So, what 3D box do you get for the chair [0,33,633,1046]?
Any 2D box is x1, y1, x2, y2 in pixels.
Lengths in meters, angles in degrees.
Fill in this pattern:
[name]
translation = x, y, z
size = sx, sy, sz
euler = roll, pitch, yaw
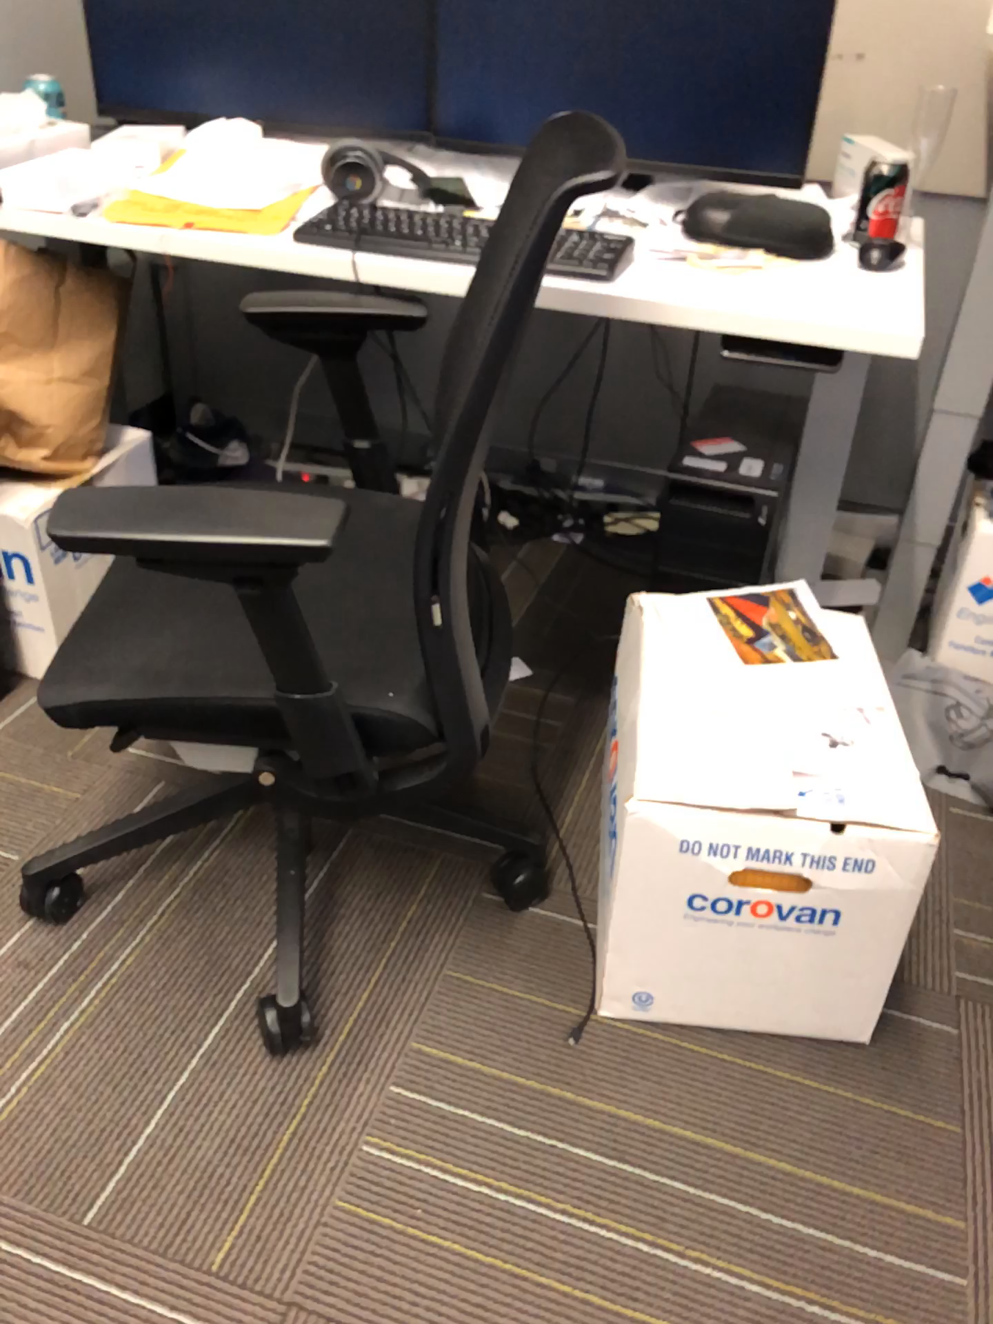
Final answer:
[chair]
translation = -0.245, -0.149, 1.258
size = 0.610, 0.935, 0.674
euler = 2, 33, -3
